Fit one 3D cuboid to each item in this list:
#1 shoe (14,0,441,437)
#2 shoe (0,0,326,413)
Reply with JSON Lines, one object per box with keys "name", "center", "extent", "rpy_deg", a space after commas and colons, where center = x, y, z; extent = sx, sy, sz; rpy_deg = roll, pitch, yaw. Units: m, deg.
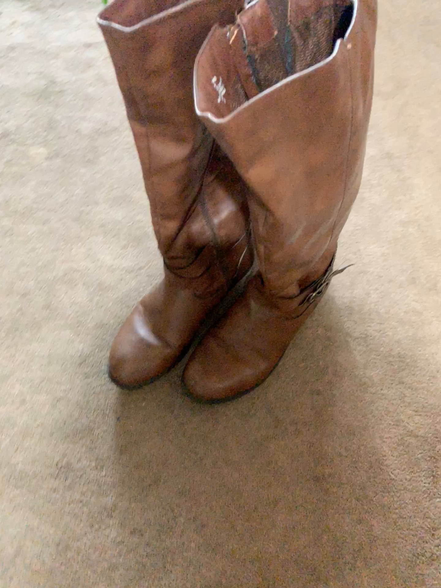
{"name": "shoe", "center": [0.047, -0.037, 0.417], "extent": [0.271, 0.398, 0.120], "rpy_deg": [-42, 70, -15]}
{"name": "shoe", "center": [-0.052, -0.063, 0.412], "extent": [0.110, 0.368, 0.261], "rpy_deg": [35, 72, 17]}
